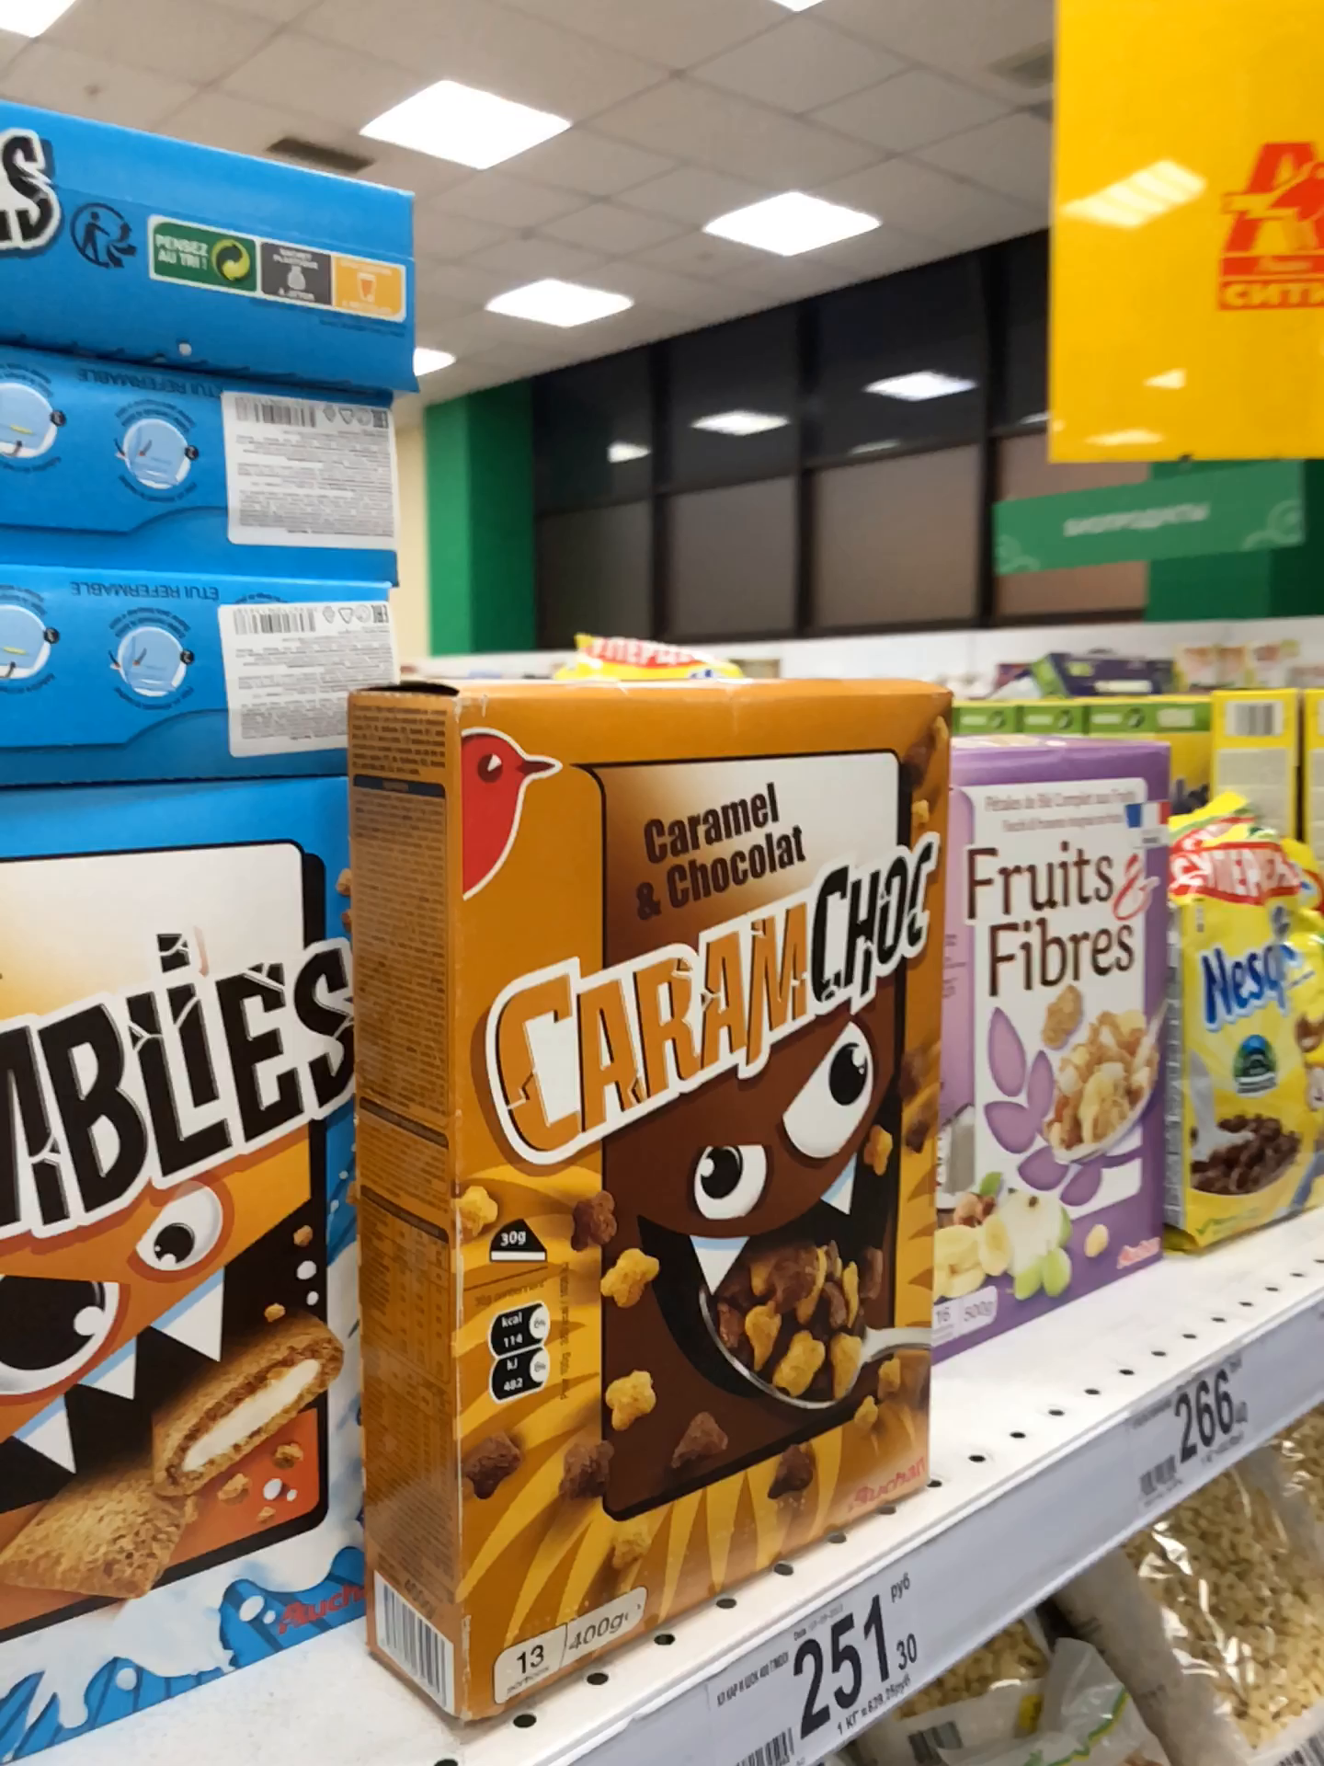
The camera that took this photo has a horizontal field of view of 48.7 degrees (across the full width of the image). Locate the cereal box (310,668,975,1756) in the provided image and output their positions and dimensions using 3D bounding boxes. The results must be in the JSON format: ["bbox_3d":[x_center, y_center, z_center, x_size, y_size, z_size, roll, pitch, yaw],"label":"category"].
[{"bbox_3d":[0.002,0.073,0.438,0.200,0.269,0.060,-6,10,-41],"label":"cereal box"}]
